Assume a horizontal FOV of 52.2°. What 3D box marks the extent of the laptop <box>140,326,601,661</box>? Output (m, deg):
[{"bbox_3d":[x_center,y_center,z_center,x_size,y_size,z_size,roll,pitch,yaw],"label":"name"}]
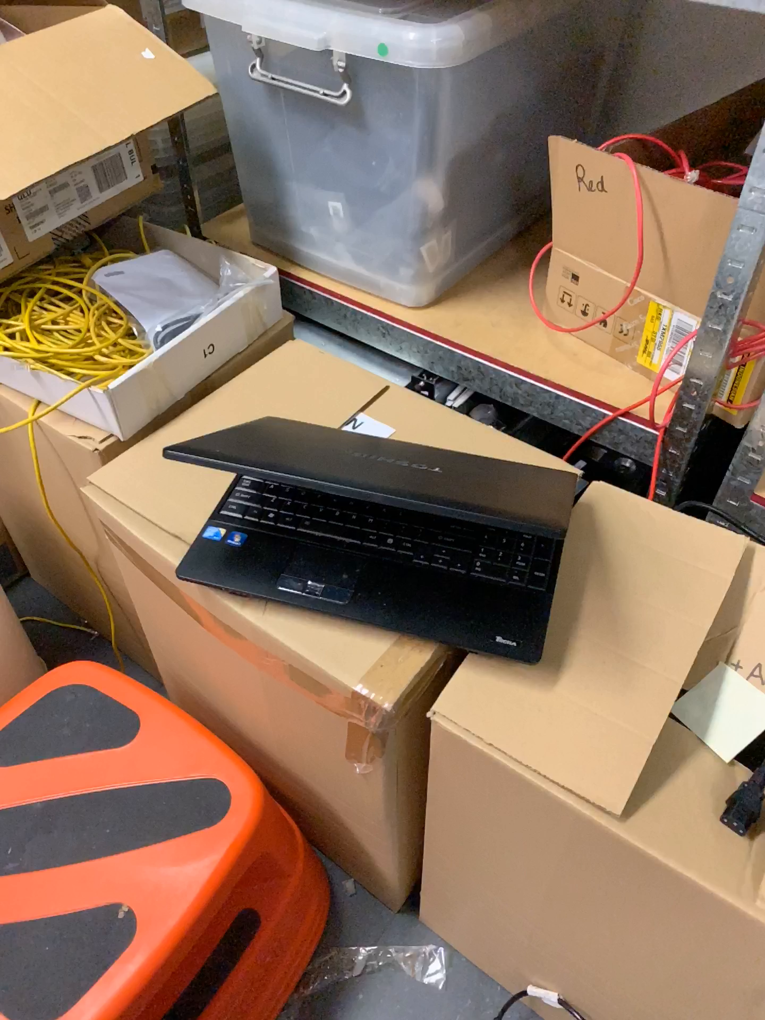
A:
[{"bbox_3d":[0.001,-0.028,0.758,0.354,0.135,0.232,12,49,11],"label":"laptop"}]
